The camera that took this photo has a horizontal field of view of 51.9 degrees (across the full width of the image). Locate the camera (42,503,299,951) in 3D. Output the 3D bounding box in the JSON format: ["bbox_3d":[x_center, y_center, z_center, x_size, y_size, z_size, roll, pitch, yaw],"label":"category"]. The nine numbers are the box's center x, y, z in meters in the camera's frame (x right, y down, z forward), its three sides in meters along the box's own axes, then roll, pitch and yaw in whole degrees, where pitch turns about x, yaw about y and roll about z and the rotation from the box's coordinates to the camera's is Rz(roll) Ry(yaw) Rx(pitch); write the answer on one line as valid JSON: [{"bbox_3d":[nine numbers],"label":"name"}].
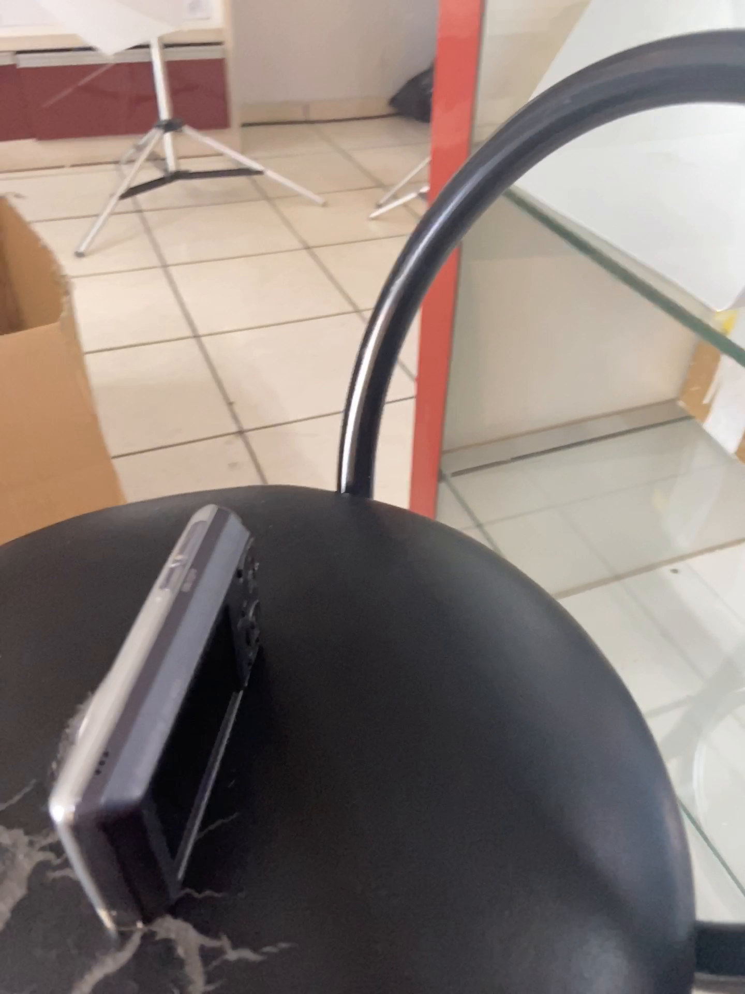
[{"bbox_3d":[-0.047,0.058,0.214,0.030,0.060,0.101,7,40,5],"label":"camera"}]
